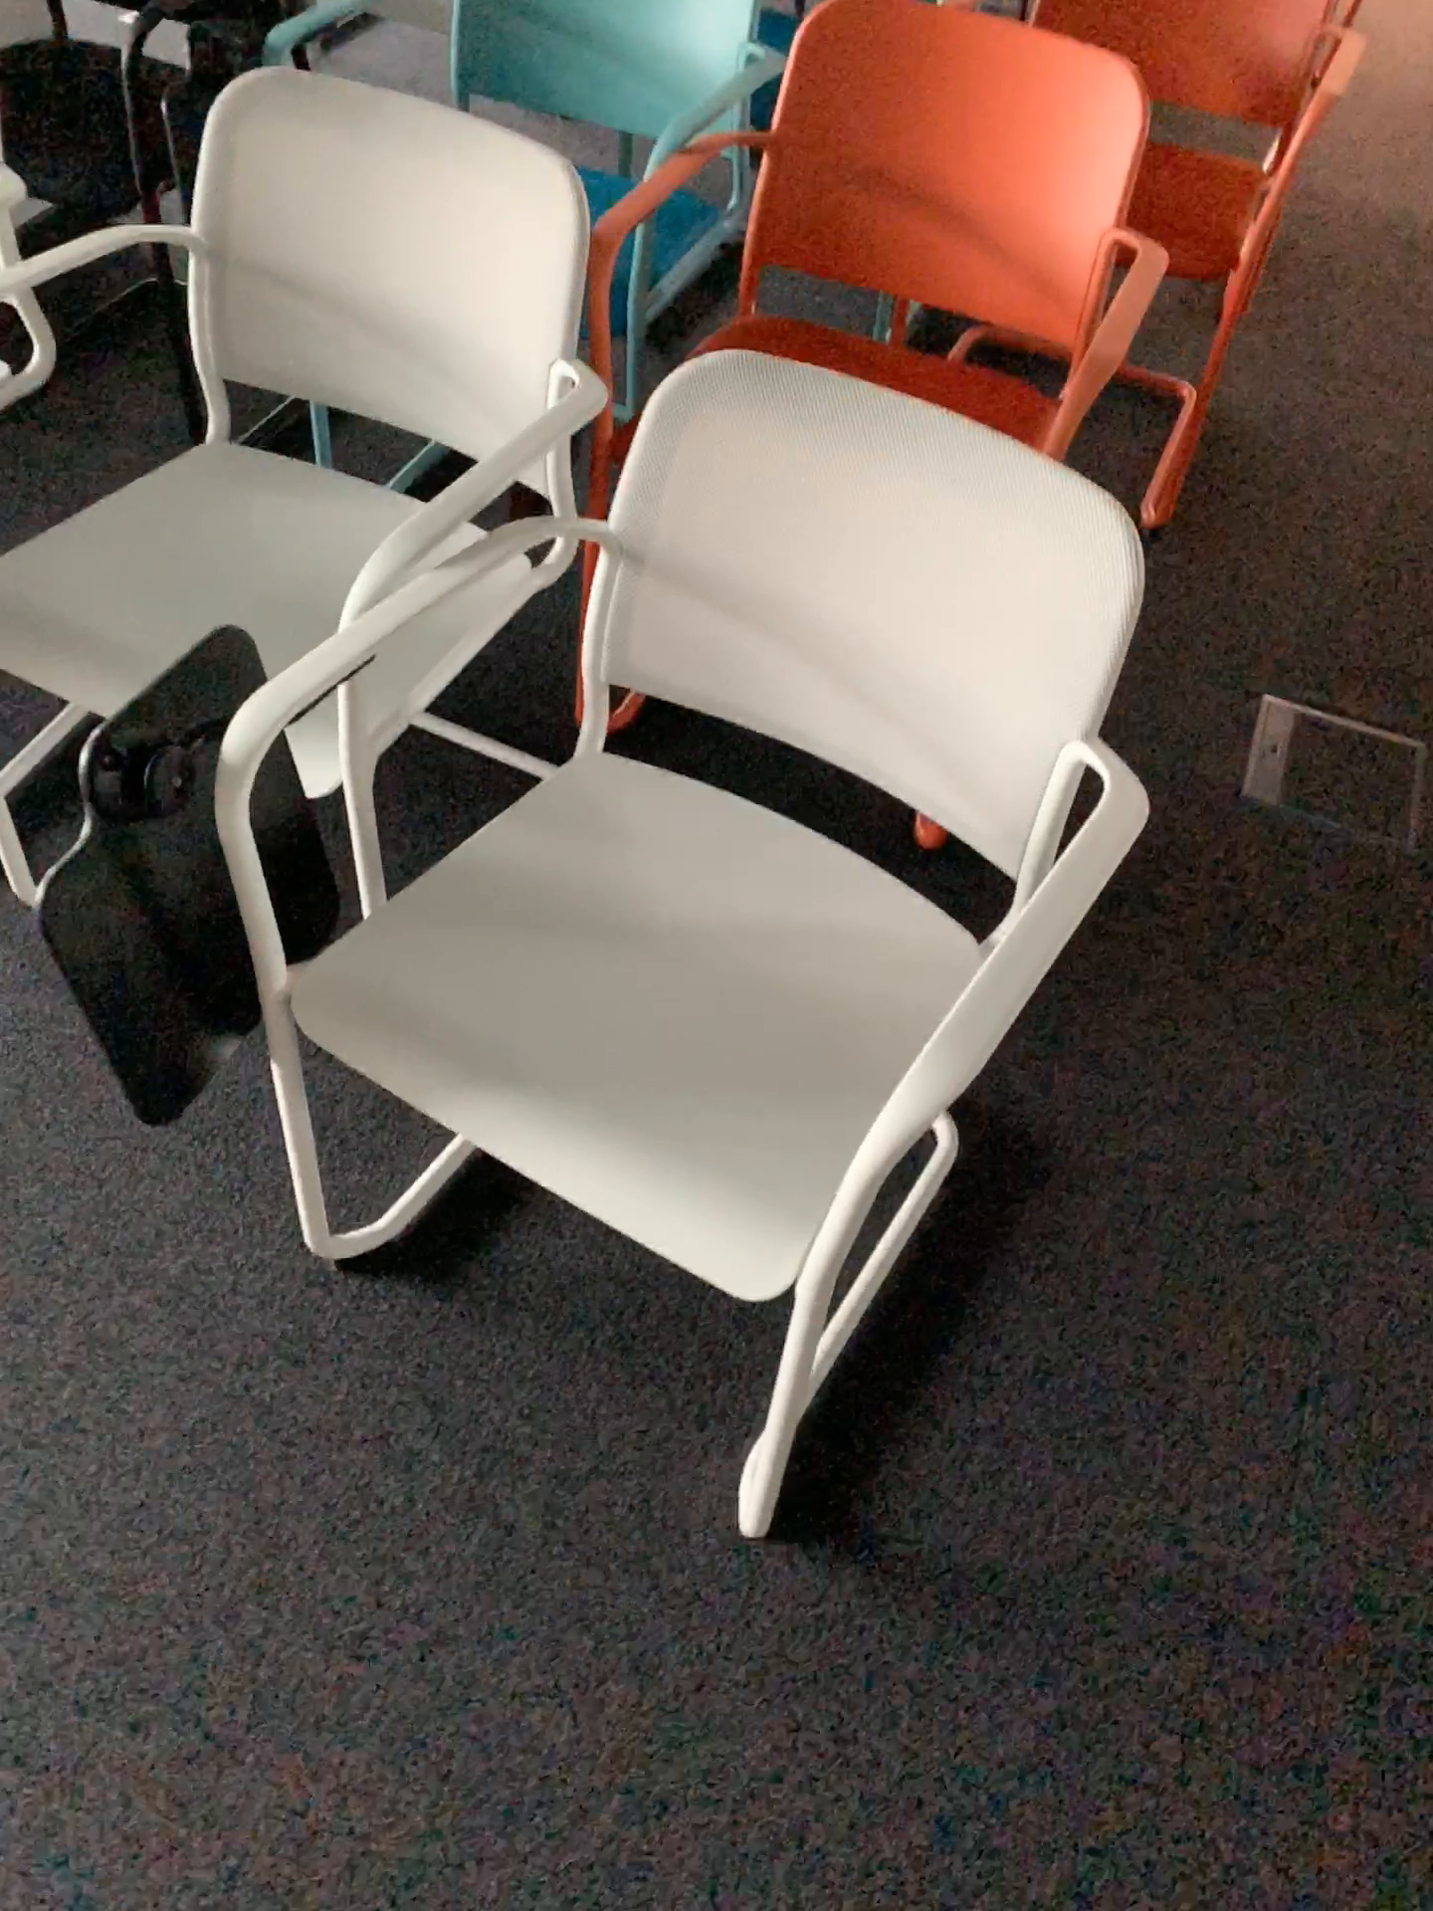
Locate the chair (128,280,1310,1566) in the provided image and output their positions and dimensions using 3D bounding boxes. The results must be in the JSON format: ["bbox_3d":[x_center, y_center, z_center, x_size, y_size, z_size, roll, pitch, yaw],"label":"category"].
[{"bbox_3d":[0.003,-0.007,1.230,0.561,0.756,0.552,28,52,17],"label":"chair"}]
